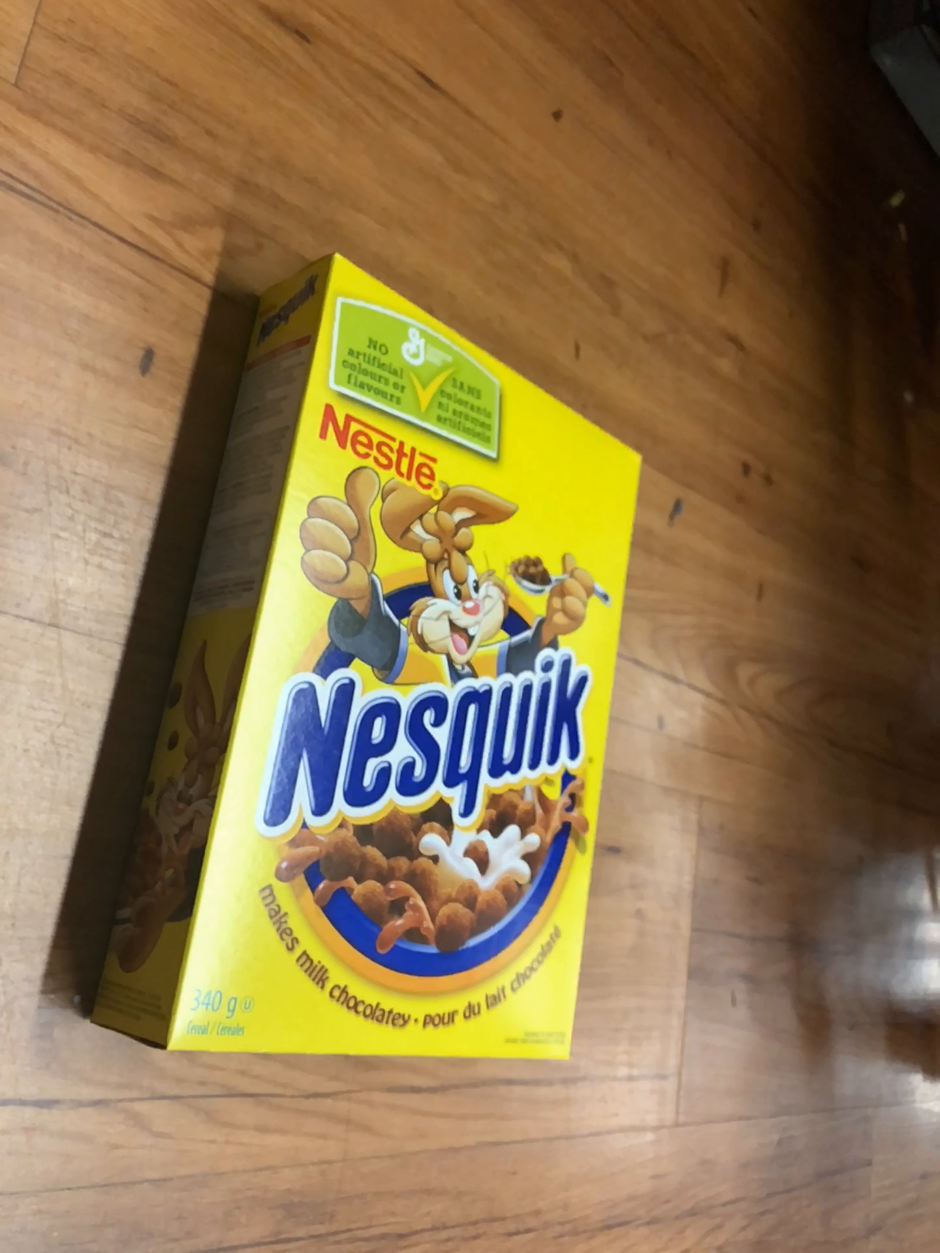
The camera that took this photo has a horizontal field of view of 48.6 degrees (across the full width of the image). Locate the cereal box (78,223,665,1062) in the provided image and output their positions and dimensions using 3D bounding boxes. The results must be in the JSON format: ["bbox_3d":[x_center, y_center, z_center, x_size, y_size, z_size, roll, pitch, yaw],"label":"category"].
[{"bbox_3d":[-0.019,0.020,0.435,0.201,0.060,0.290,22,72,-40],"label":"cereal box"}]
